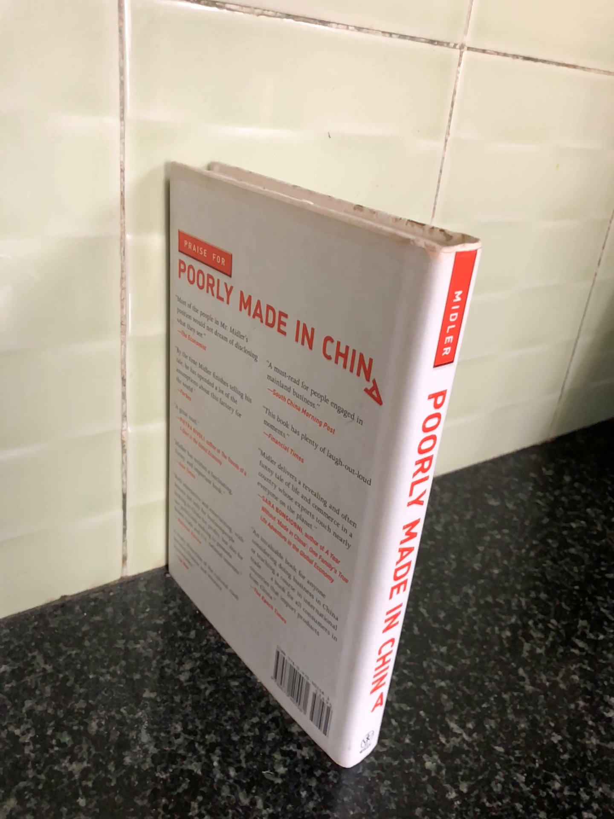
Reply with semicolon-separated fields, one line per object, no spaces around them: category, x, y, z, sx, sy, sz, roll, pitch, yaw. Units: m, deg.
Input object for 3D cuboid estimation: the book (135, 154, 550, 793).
book;-0.013;0.016;0.309;0.040;0.219;0.190;-14;33;-38
